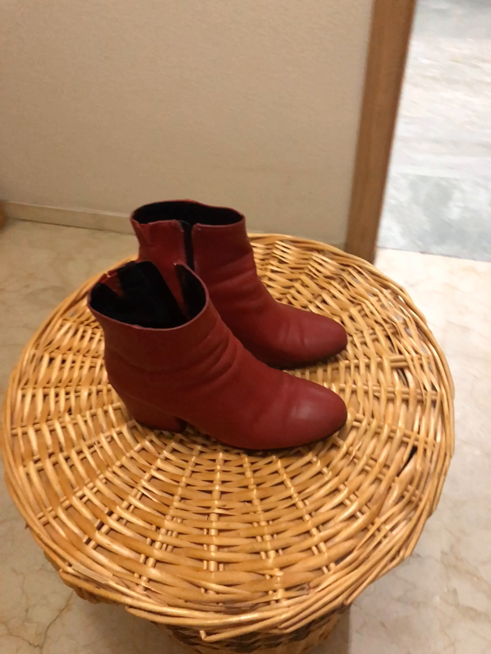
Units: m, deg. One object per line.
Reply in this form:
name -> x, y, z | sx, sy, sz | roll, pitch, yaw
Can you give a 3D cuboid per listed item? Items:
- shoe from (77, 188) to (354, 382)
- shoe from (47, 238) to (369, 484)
shoe -> -0.021, -0.039, 0.574 | 0.244, 0.184, 0.099 | 1, 48, 5
shoe -> -0.023, 0.035, 0.509 | 0.245, 0.184, 0.099 | 9, 49, 12
